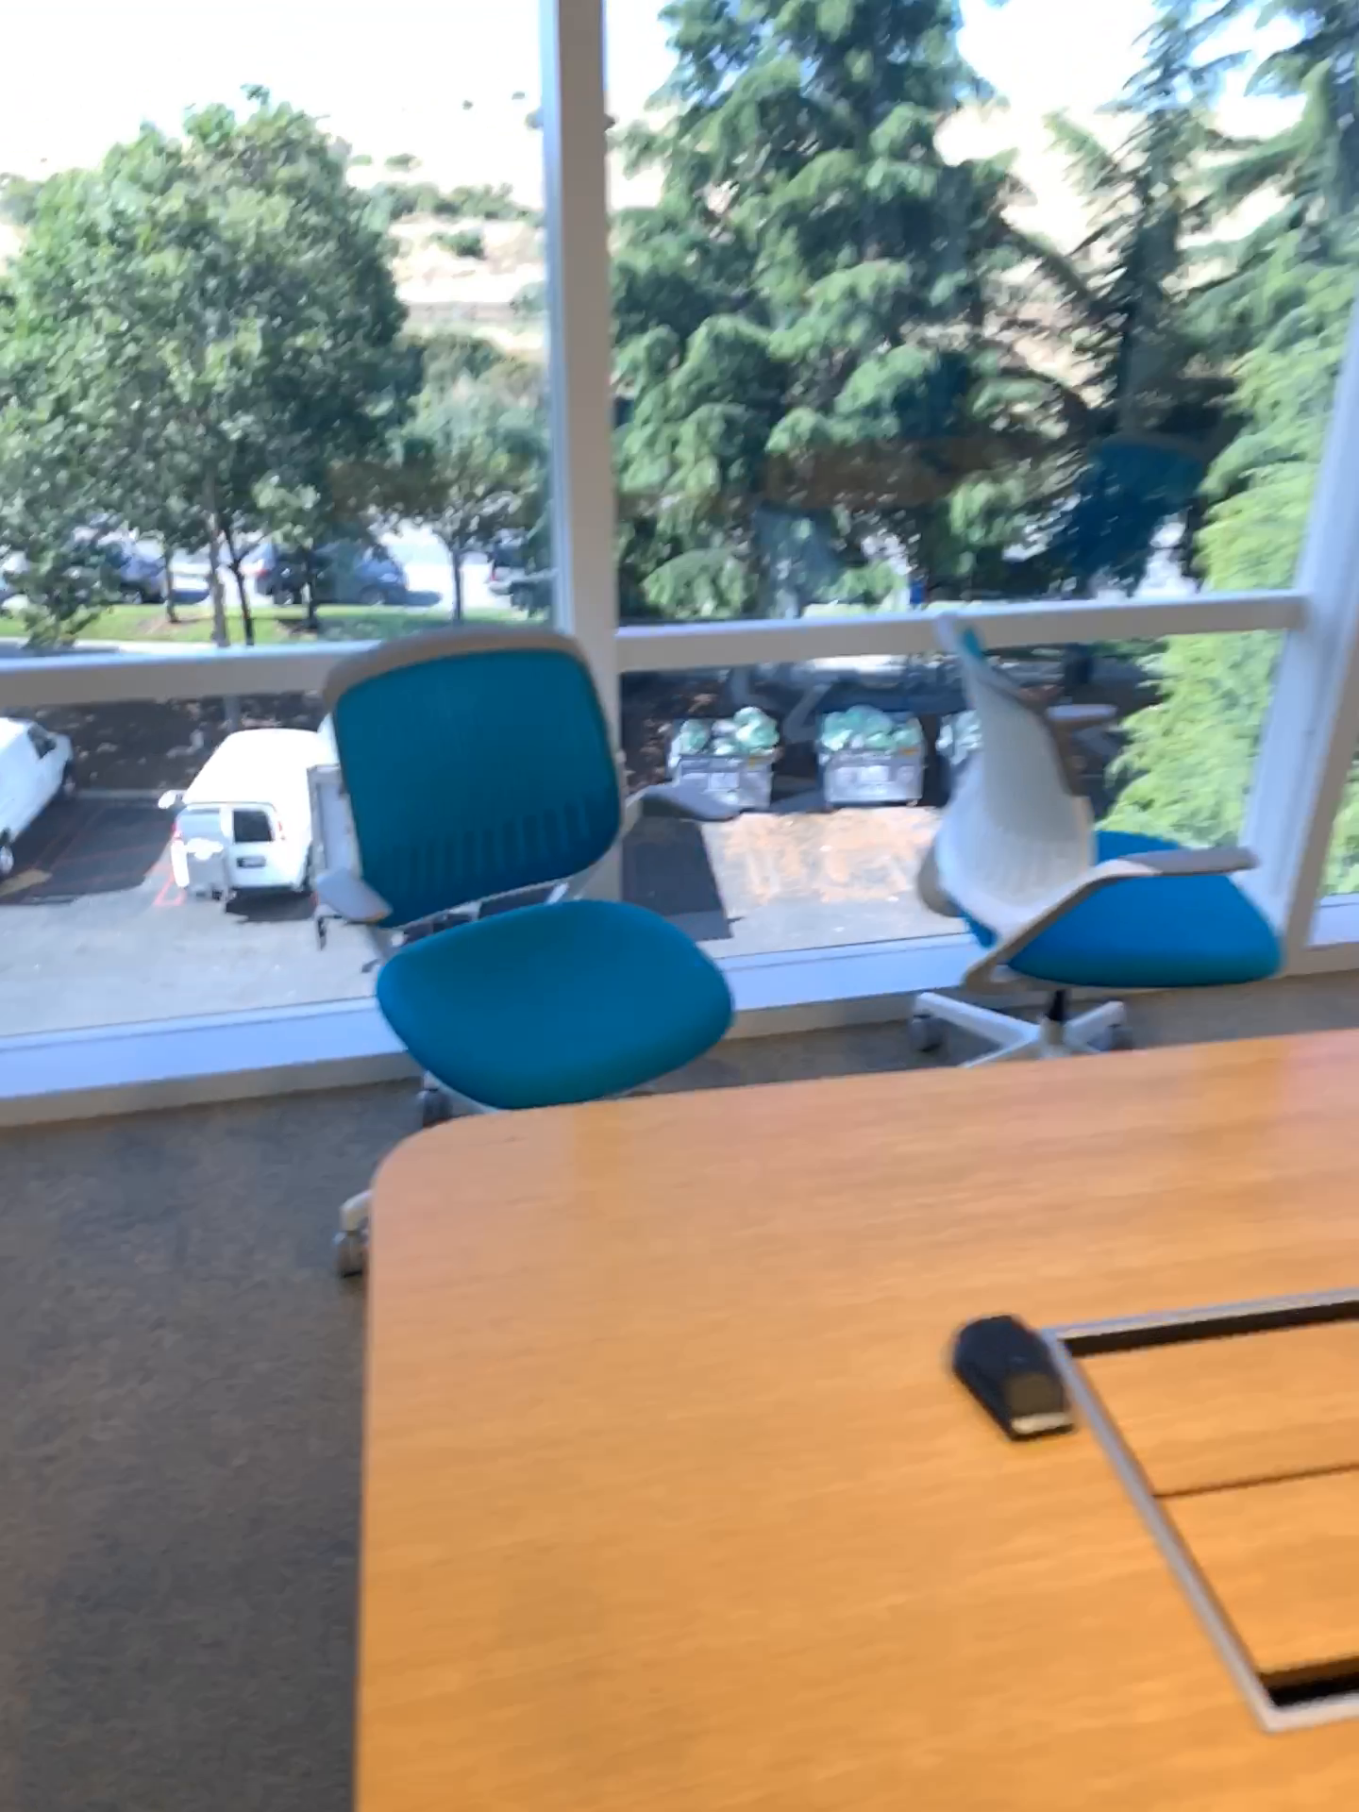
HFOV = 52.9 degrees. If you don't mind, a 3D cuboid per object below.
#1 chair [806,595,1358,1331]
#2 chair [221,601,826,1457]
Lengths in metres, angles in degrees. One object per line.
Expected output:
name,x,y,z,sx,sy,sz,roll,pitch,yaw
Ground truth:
chair,0.660,0.067,2.373,0.640,1.014,0.654,-6,28,-13
chair,-0.309,0.154,2.497,0.730,1.133,0.875,-12,30,-23
